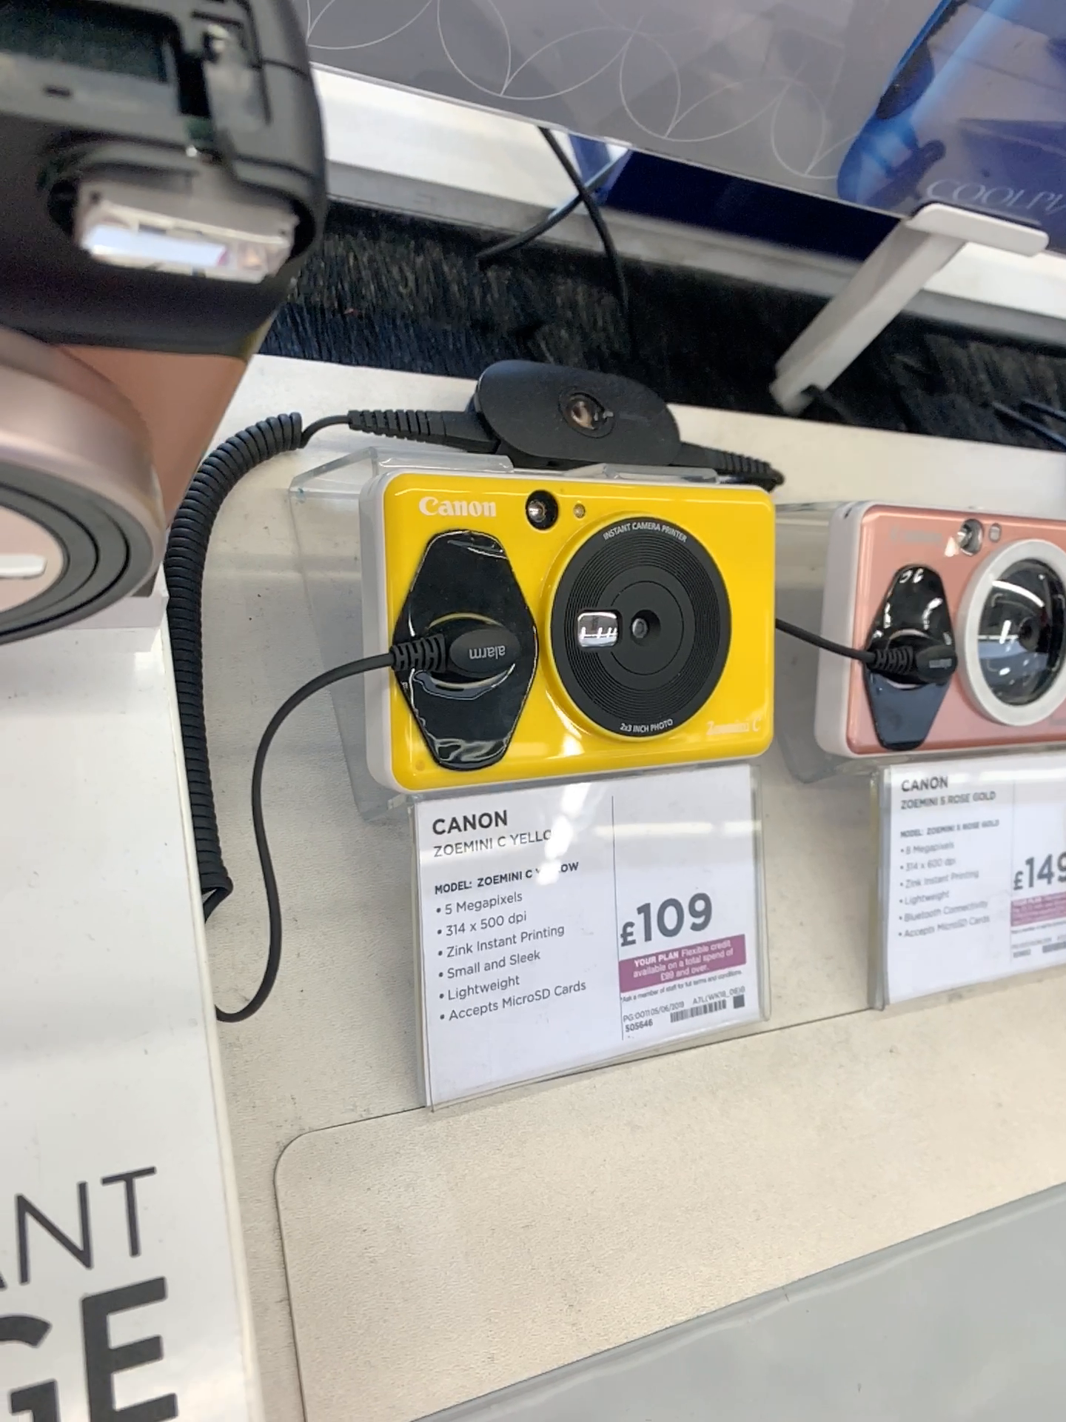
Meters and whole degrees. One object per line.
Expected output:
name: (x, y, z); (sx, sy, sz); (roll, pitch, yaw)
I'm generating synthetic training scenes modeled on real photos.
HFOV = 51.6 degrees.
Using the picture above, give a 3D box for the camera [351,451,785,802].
camera: (0.014, -0.023, 0.290); (0.120, 0.020, 0.080); (-4, 97, -30)
